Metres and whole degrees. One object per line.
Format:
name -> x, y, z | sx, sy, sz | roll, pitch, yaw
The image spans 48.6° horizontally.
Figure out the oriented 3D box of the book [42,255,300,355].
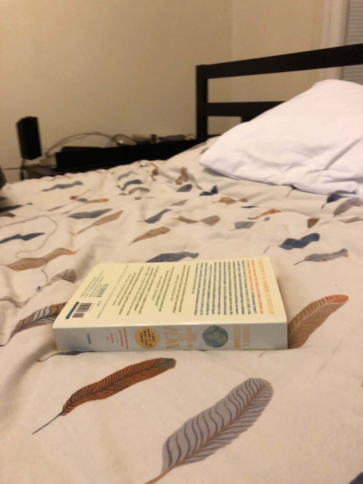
book -> -0.006, 0.058, 0.418 | 0.220, 0.040, 0.151 | -1, 16, 3
